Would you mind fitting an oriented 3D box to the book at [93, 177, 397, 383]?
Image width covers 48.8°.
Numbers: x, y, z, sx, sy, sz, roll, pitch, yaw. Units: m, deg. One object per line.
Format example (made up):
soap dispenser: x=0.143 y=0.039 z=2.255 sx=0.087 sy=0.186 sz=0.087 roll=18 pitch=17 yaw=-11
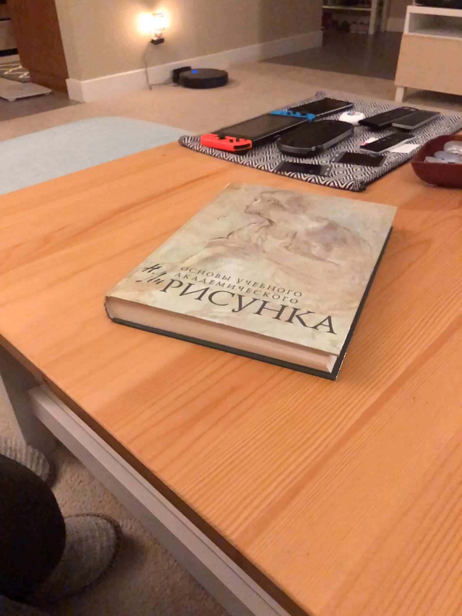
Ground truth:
book: x=0.034 y=-0.054 z=0.510 sx=0.214 sy=0.030 sz=0.273 roll=14 pitch=38 yaw=18
